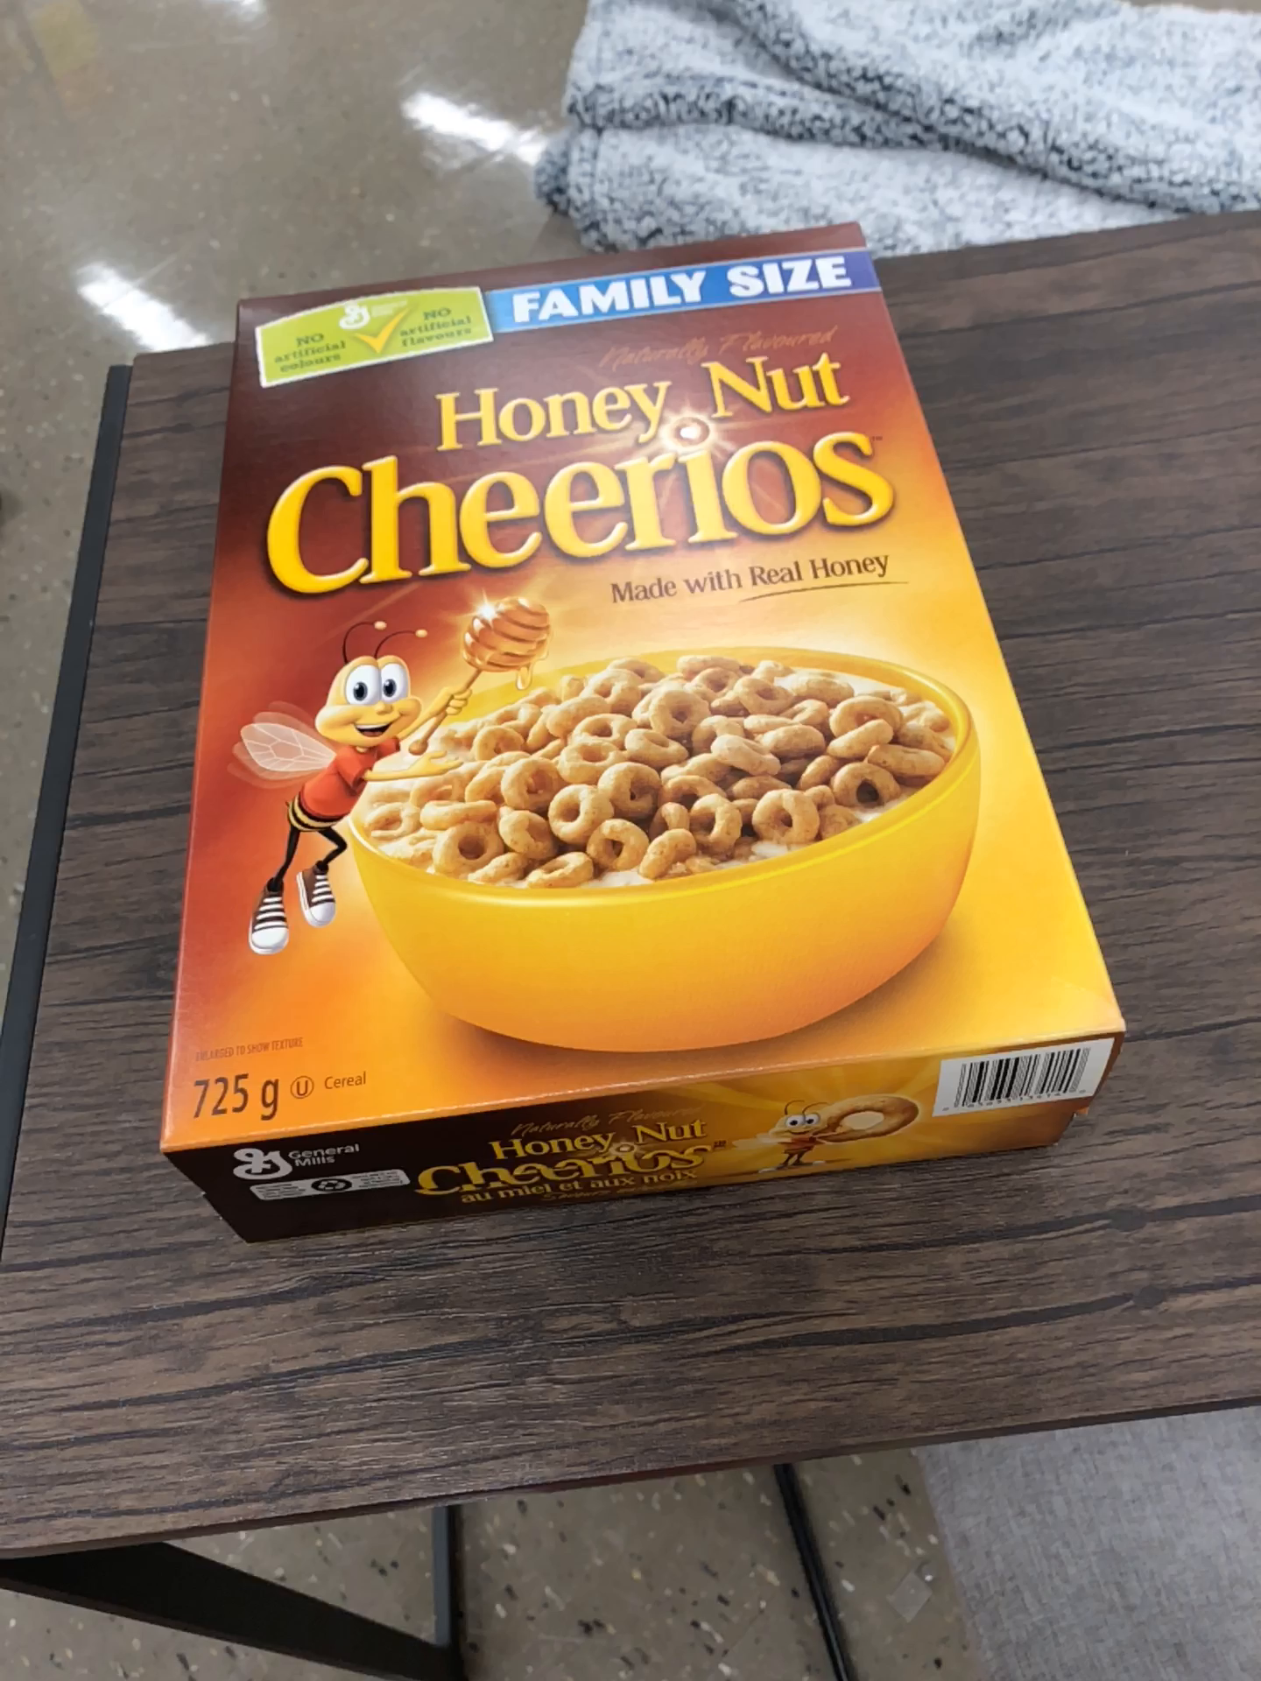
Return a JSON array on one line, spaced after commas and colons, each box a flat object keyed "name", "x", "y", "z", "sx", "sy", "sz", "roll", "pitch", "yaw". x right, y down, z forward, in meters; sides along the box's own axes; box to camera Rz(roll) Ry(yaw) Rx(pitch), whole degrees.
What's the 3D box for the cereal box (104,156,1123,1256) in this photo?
[{"name": "cereal box", "x": -0.020, "y": -0.074, "z": 0.481, "sx": 0.250, "sy": 0.080, "sz": 0.381, "roll": -8, "pitch": 56, "yaw": 2}]
